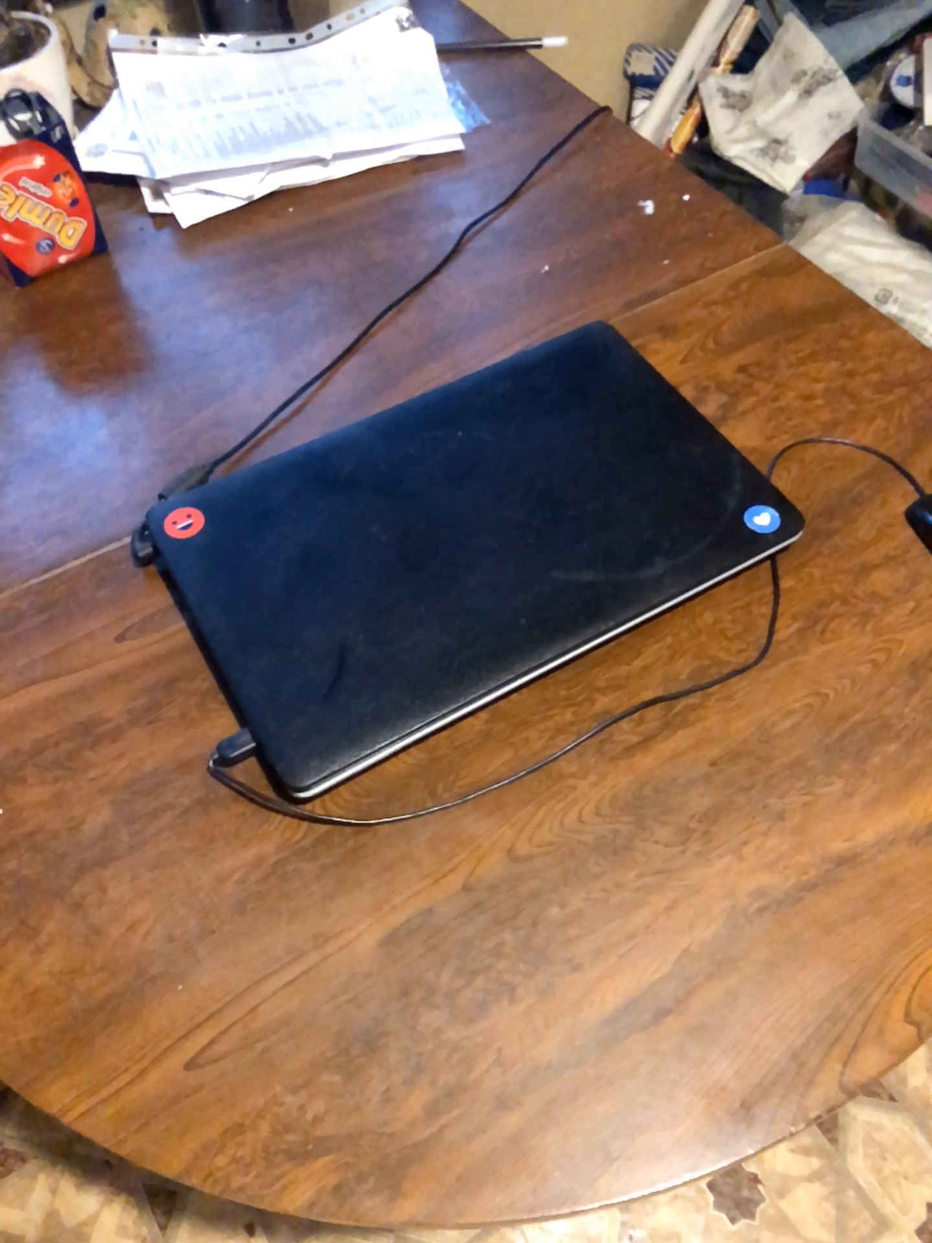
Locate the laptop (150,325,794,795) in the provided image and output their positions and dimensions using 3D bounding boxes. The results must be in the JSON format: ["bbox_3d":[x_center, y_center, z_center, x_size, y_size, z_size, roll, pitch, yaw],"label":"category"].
[{"bbox_3d":[0.003,-0.067,0.688,0.366,0.007,0.239,-26,59,-17],"label":"laptop"}]
